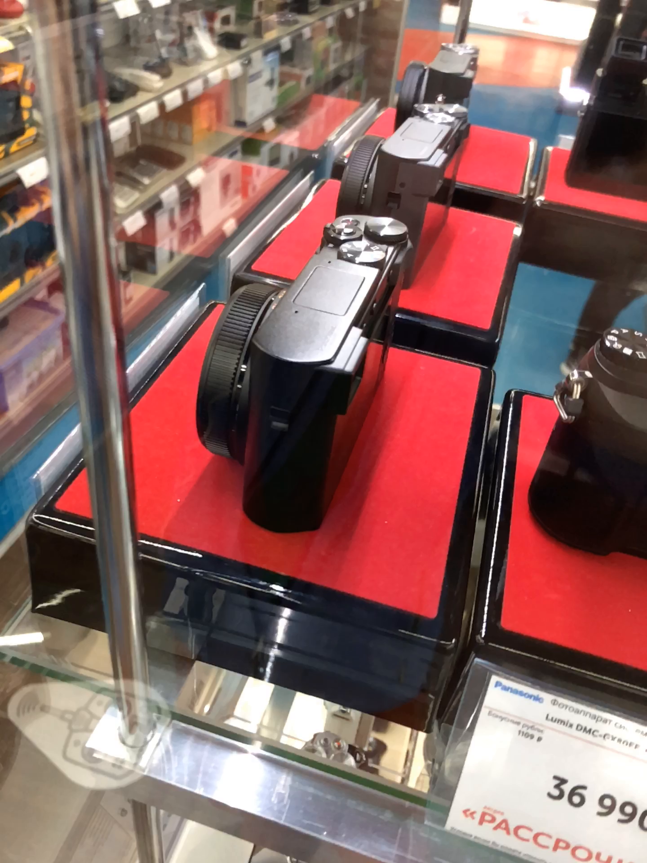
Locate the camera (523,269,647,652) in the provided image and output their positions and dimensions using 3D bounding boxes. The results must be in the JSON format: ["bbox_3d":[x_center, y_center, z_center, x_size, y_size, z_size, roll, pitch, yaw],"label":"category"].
[{"bbox_3d":[0.123,0.007,0.218,0.102,0.076,0.054,15,39,9],"label":"camera"}]

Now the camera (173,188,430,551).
[{"bbox_3d":[-0.004,-0.028,0.251,0.052,0.070,0.110,14,39,9],"label":"camera"}]

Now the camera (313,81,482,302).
[{"bbox_3d":[0.043,-0.136,0.398,0.055,0.076,0.114,16,39,11],"label":"camera"}]
